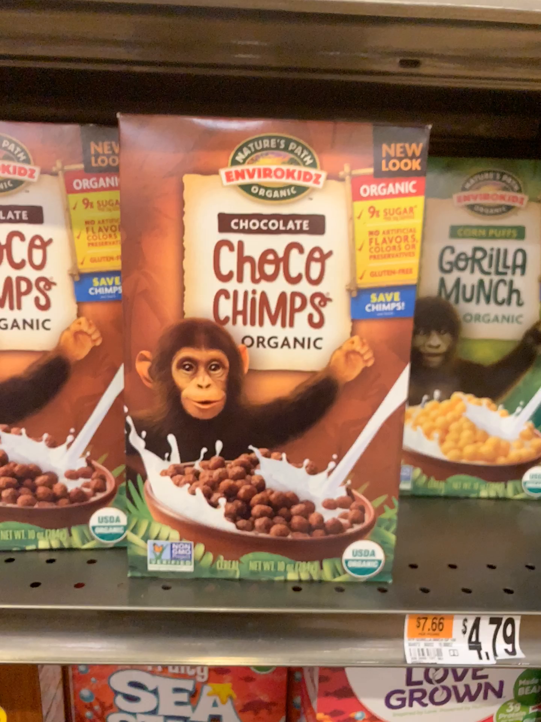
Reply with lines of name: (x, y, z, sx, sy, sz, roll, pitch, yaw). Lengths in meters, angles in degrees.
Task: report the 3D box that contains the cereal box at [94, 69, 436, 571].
cereal box: (-0.008, -0.016, 0.337, 0.170, 0.269, 0.060, 2, 12, -1)
